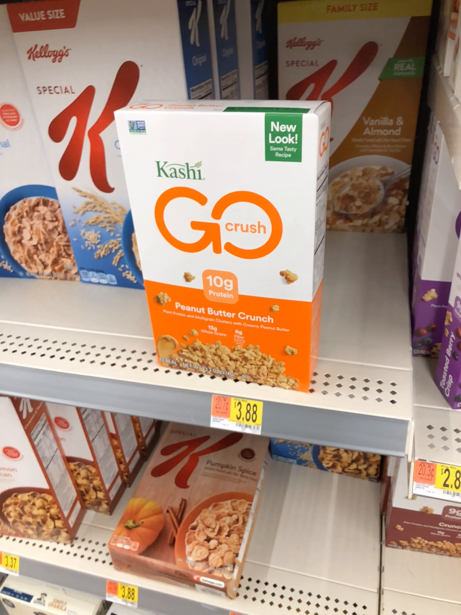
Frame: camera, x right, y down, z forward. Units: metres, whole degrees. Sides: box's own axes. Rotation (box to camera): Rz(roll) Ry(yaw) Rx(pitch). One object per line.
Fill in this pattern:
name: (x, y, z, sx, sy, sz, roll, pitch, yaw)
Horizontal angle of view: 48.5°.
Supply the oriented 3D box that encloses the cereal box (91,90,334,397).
cereal box: (-0.005, -0.047, 0.439, 0.170, 0.249, 0.050, 8, 36, 19)
